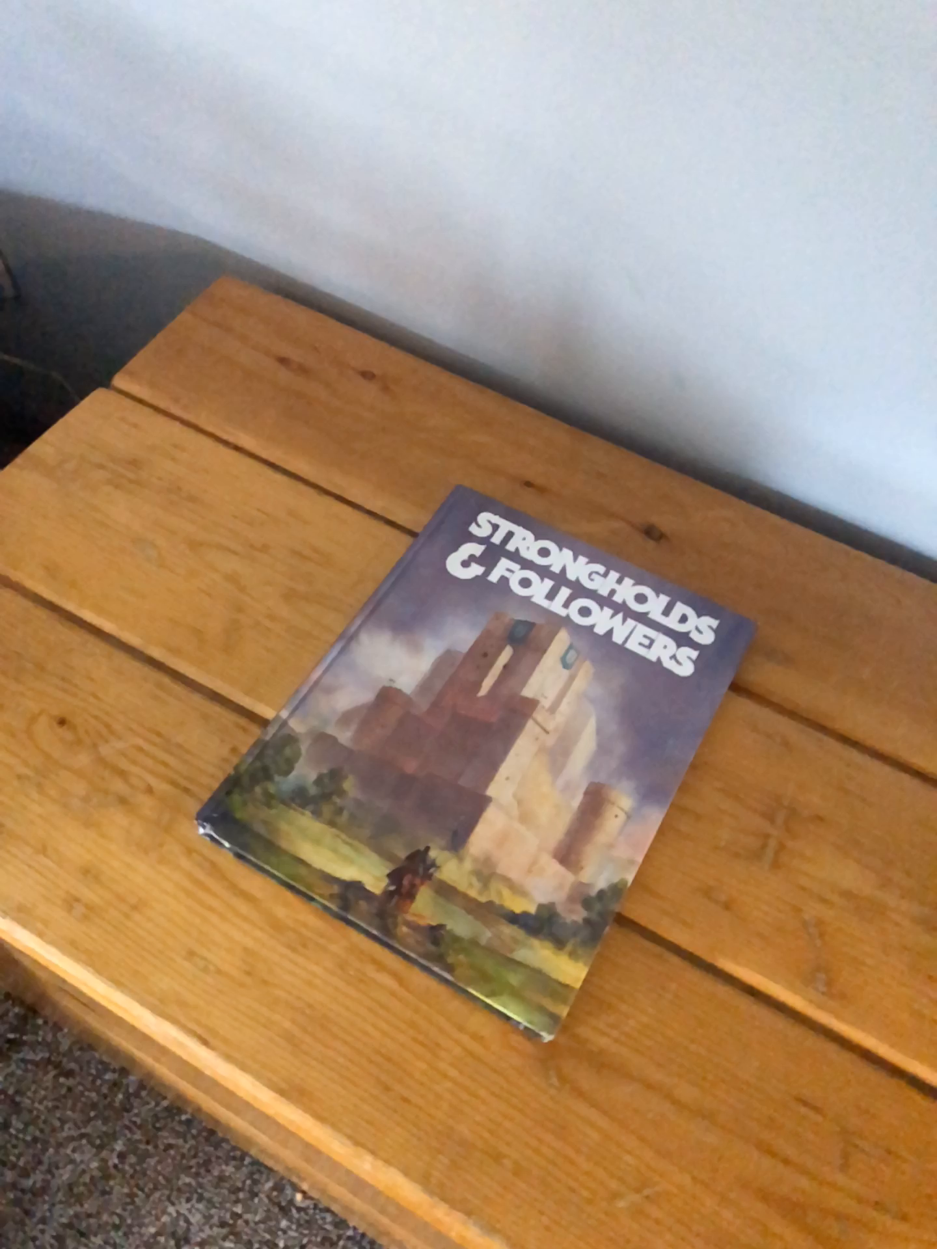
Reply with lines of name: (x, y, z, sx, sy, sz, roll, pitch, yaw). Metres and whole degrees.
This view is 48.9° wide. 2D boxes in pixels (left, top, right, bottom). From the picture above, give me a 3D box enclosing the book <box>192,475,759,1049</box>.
book: (0.015, 0.060, 0.607, 0.212, 0.042, 0.281, 27, 60, 14)
